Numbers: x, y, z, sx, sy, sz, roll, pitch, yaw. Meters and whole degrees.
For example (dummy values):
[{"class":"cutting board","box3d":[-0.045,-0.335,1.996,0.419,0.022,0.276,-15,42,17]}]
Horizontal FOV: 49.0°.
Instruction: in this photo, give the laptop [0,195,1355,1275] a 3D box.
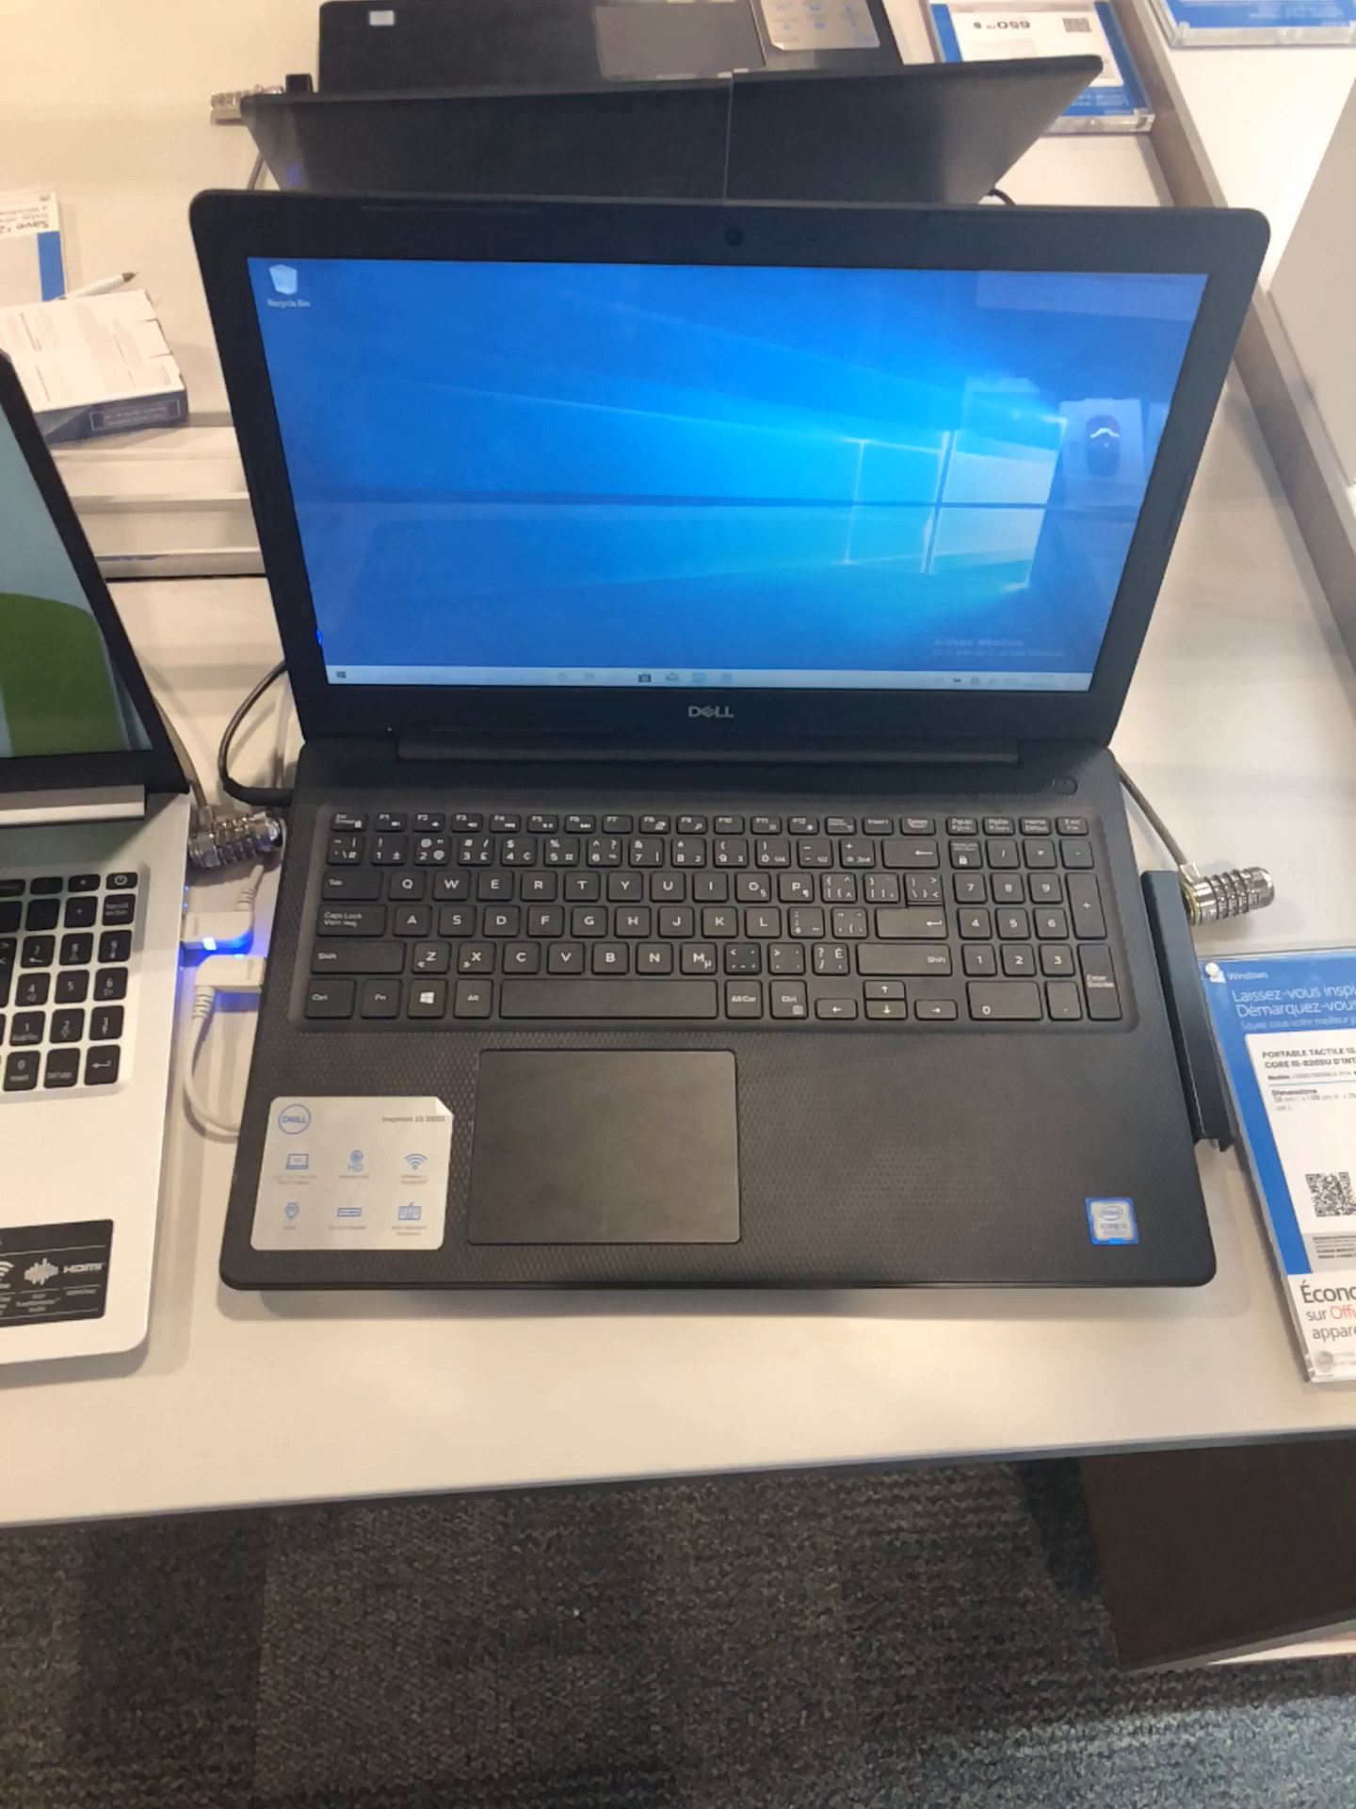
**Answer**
[{"class":"laptop","box3d":[0.015,-0.053,0.542,0.368,0.231,0.310,0,59,-2]}]
